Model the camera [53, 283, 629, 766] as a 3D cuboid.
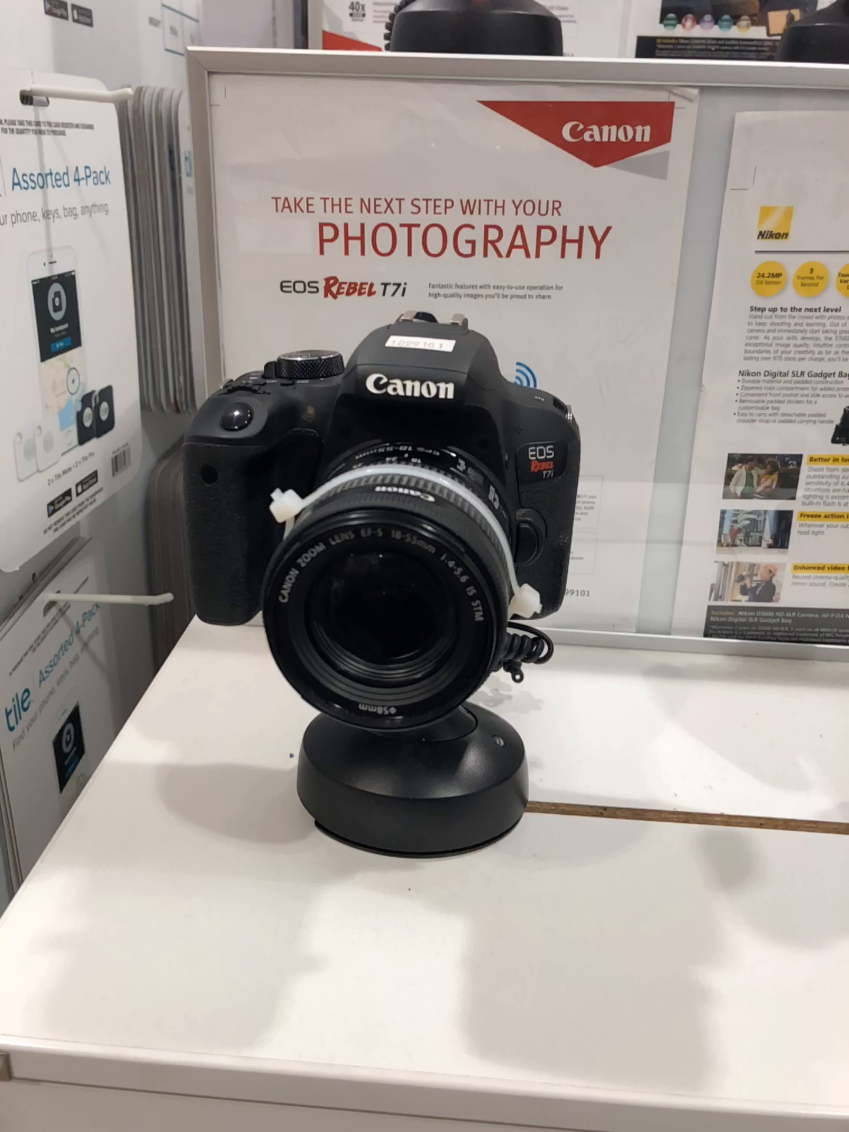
[{"bbox_3d":[-0.015,-0.023,0.284,0.130,0.100,0.120,5,24,6],"label":"camera"}]
